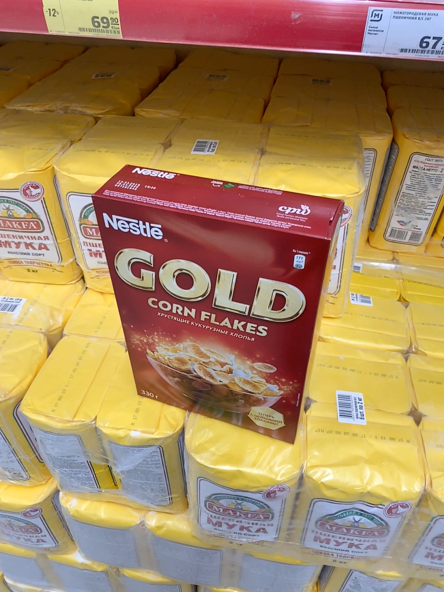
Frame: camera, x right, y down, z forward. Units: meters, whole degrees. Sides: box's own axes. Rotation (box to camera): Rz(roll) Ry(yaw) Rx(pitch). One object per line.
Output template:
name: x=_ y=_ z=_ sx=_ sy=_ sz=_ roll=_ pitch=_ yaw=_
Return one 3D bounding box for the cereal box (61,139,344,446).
cereal box: x=-0.017 y=0.013 z=0.455 sx=0.210 sy=0.287 sz=0.071 roll=14 pitch=45 yaw=14
